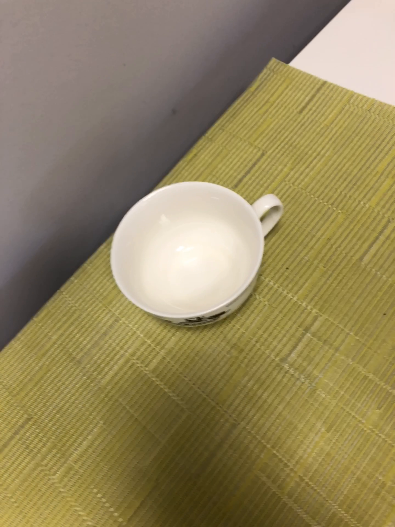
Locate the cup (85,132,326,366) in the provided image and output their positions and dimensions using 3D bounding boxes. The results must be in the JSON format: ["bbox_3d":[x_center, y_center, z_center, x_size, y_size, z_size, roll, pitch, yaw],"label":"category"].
[{"bbox_3d":[0.006,-0.010,0.282,0.113,0.051,0.089,-37,63,-7],"label":"cup"}]
